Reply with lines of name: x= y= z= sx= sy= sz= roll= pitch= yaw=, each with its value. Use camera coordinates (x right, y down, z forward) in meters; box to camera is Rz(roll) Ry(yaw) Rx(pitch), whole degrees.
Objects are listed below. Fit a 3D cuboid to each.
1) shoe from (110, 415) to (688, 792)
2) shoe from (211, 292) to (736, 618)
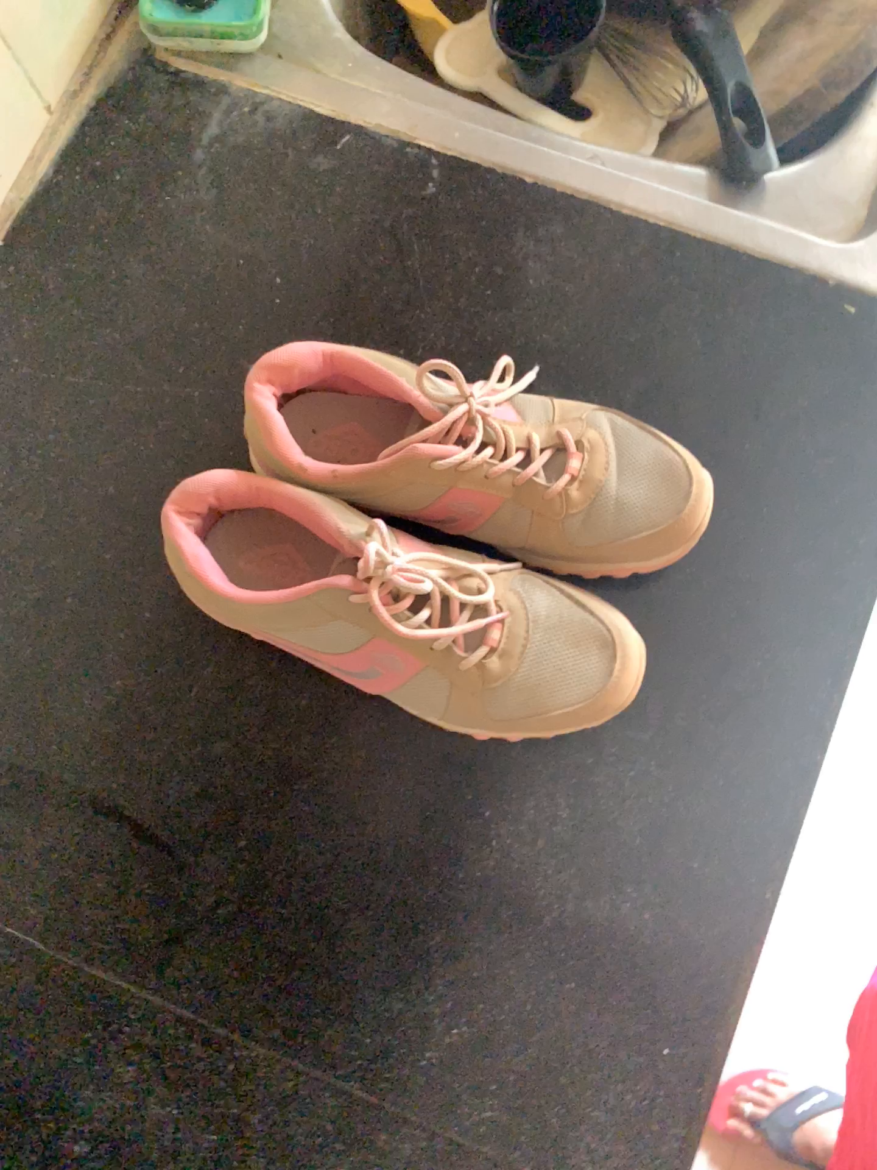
shoe: x=-0.017 y=0.014 z=0.455 sx=0.240 sy=0.100 sz=0.100 roll=19 pitch=80 yaw=6
shoe: x=0.018 y=-0.062 z=0.472 sx=0.230 sy=0.100 sz=0.090 roll=14 pitch=79 yaw=5
